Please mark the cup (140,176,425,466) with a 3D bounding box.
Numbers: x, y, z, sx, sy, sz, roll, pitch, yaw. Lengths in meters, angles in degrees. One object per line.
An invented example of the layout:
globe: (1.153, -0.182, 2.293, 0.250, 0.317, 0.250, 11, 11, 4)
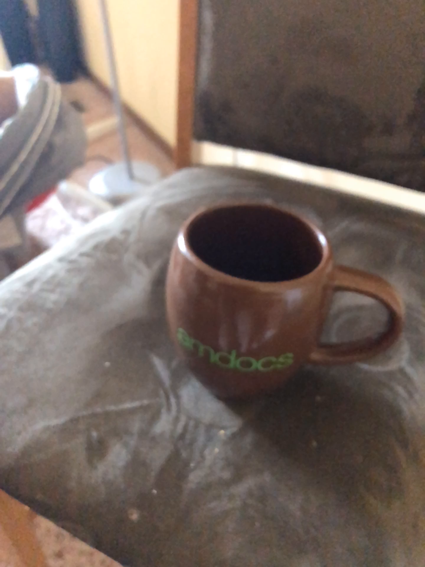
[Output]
cup: (0.042, 0.019, 0.289, 0.140, 0.100, 0.090, 18, 42, 9)
